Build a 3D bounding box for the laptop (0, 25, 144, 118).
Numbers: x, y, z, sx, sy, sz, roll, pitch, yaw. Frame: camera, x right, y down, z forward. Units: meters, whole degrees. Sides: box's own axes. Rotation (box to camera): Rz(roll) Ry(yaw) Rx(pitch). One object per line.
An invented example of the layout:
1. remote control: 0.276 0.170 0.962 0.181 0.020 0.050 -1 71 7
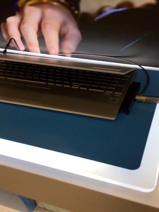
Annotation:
1. laptop: -0.070 -0.105 0.496 0.370 0.105 0.237 11 37 15
